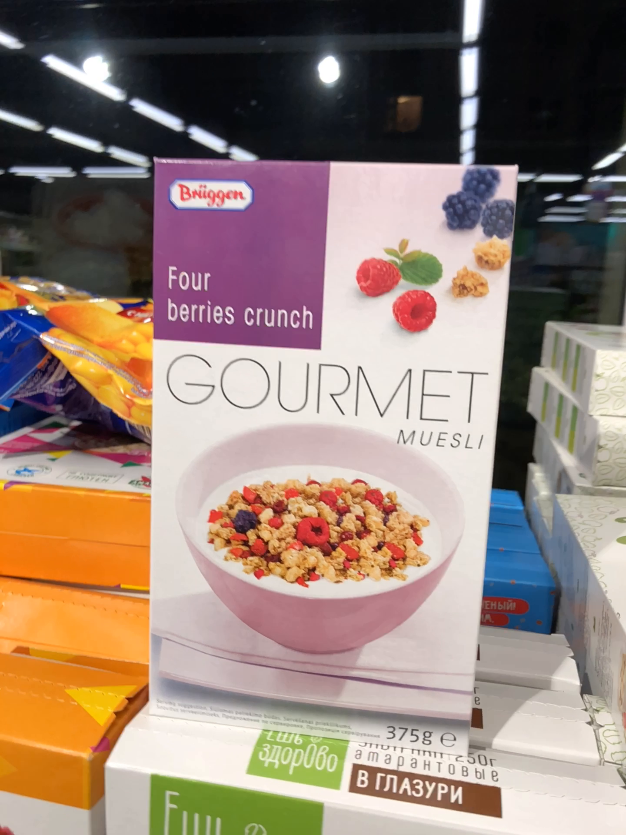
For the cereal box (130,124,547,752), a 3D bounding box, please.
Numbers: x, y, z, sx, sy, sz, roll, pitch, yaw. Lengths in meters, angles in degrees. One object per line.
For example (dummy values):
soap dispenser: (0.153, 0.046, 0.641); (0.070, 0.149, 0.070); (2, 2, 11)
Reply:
cereal box: (0.005, 0.007, 0.274); (0.140, 0.220, 0.050); (4, 8, 7)
